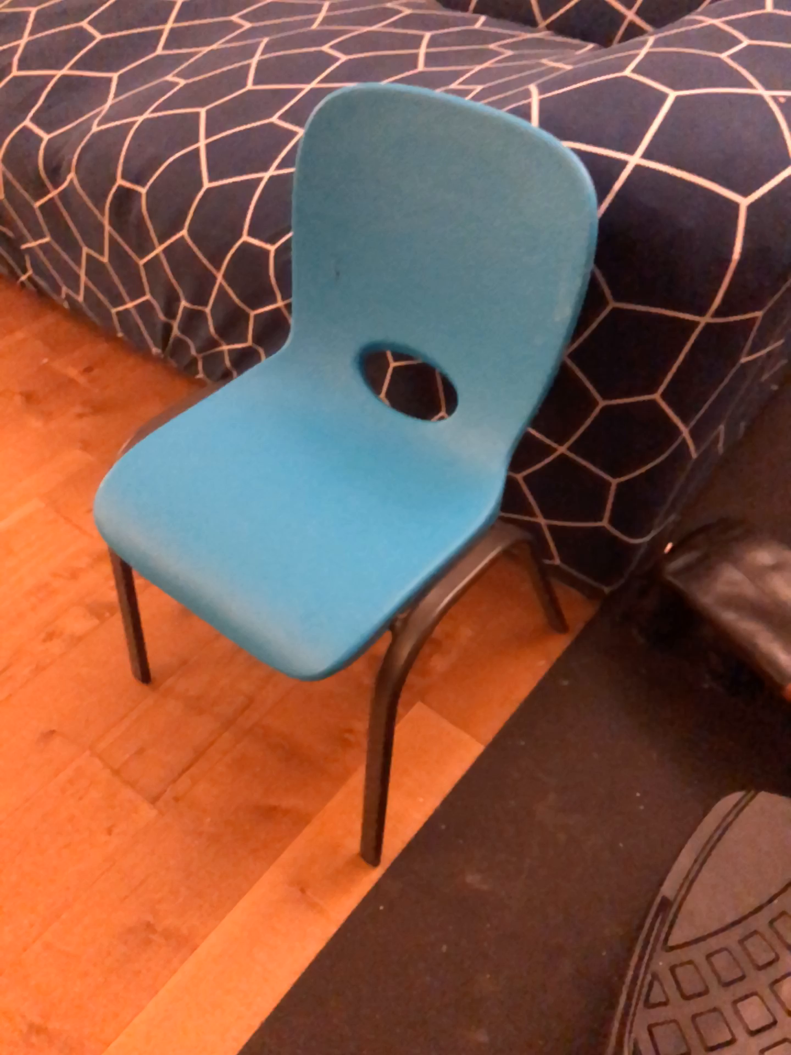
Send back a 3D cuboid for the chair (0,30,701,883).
[{"bbox_3d":[-0.071,-0.067,0.798,0.431,0.527,0.402,28,53,23],"label":"chair"}]
